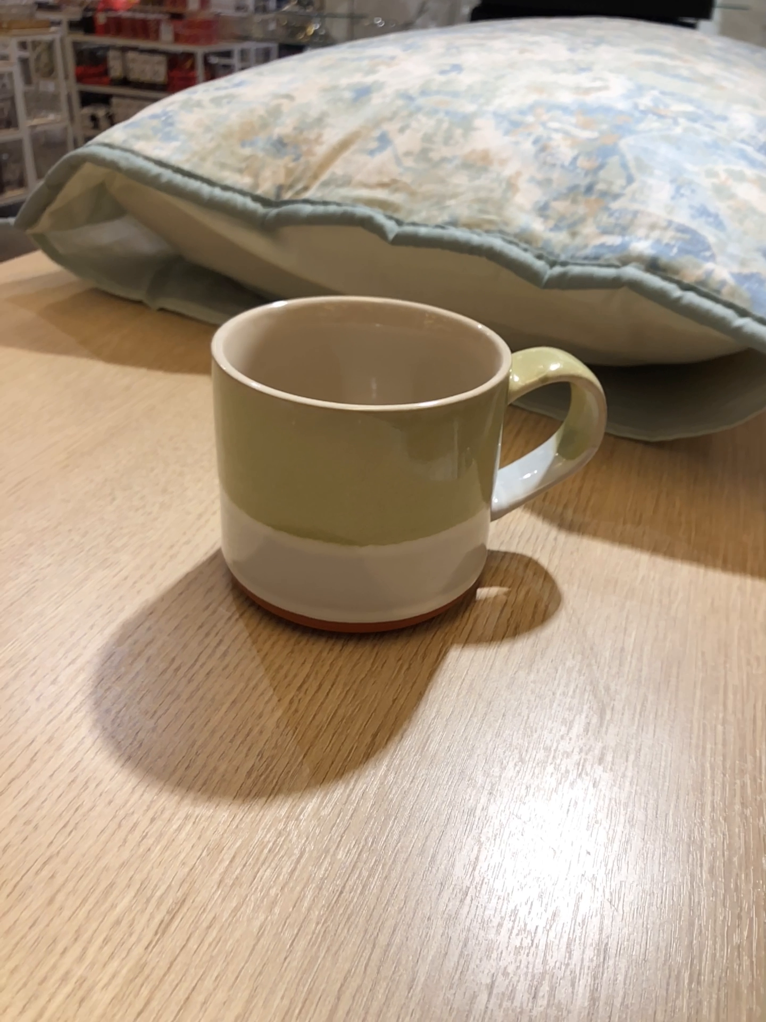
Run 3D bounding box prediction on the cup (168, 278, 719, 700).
[{"bbox_3d":[0.012,-0.018,0.284,0.140,0.079,0.101,-10,34,-21],"label":"cup"}]
